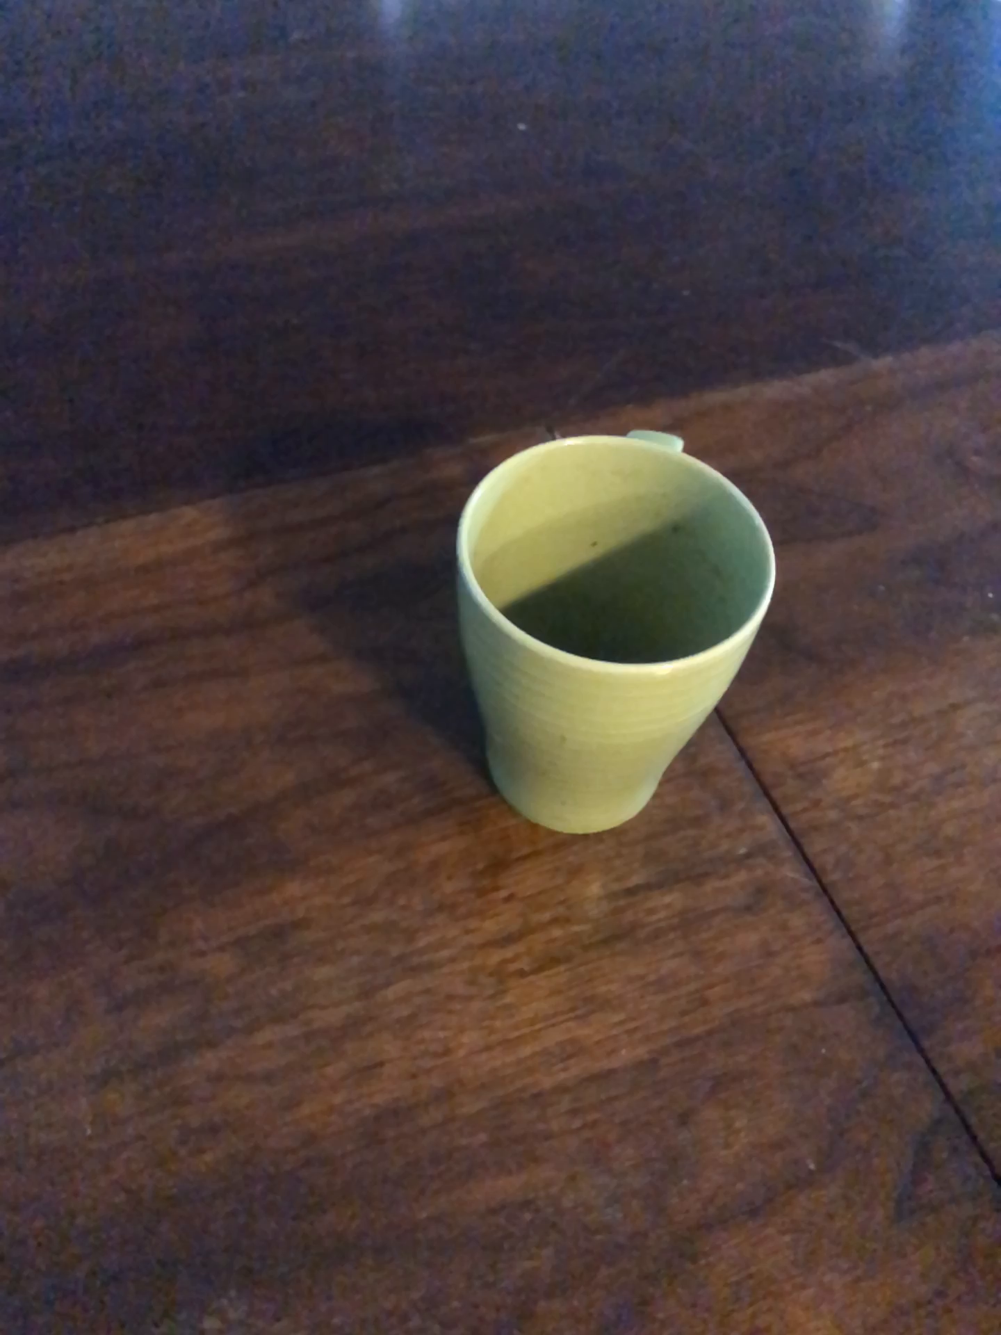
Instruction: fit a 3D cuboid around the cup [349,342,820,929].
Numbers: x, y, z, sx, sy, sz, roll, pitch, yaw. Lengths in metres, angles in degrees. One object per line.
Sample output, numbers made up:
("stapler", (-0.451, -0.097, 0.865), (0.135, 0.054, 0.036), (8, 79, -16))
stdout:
("cup", (0.025, -0.011, 0.322), (0.090, 0.090, 0.120), (18, 53, 10))
